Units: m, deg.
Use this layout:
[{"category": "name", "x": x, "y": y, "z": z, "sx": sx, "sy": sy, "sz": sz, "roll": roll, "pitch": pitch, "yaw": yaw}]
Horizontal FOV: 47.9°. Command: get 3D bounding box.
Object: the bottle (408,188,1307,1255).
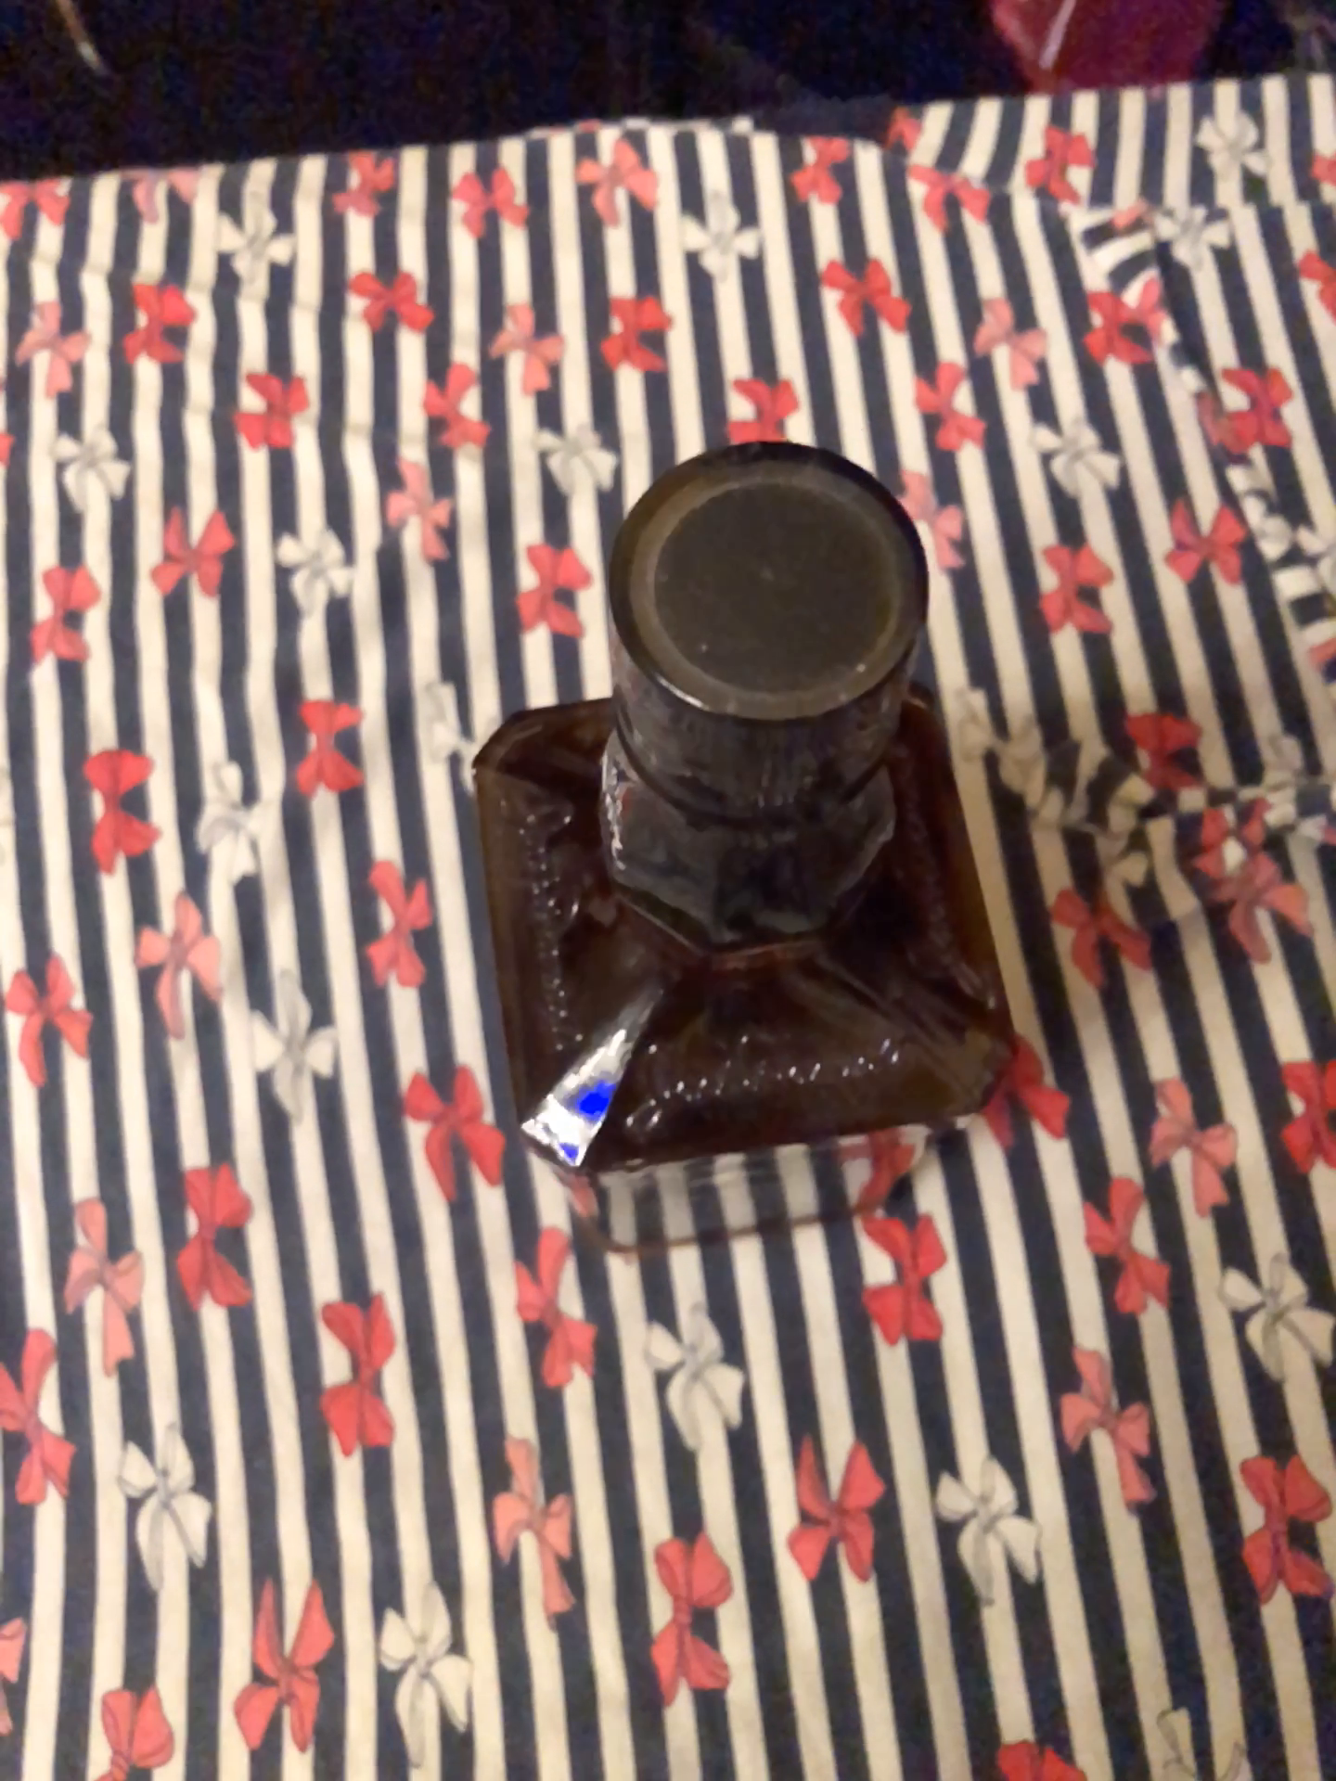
[{"category": "bottle", "x": 0.015, "y": 0.007, "z": 0.259, "sx": 0.073, "sy": 0.247, "sz": 0.074, "roll": 0, "pitch": 71, "yaw": 0}]
